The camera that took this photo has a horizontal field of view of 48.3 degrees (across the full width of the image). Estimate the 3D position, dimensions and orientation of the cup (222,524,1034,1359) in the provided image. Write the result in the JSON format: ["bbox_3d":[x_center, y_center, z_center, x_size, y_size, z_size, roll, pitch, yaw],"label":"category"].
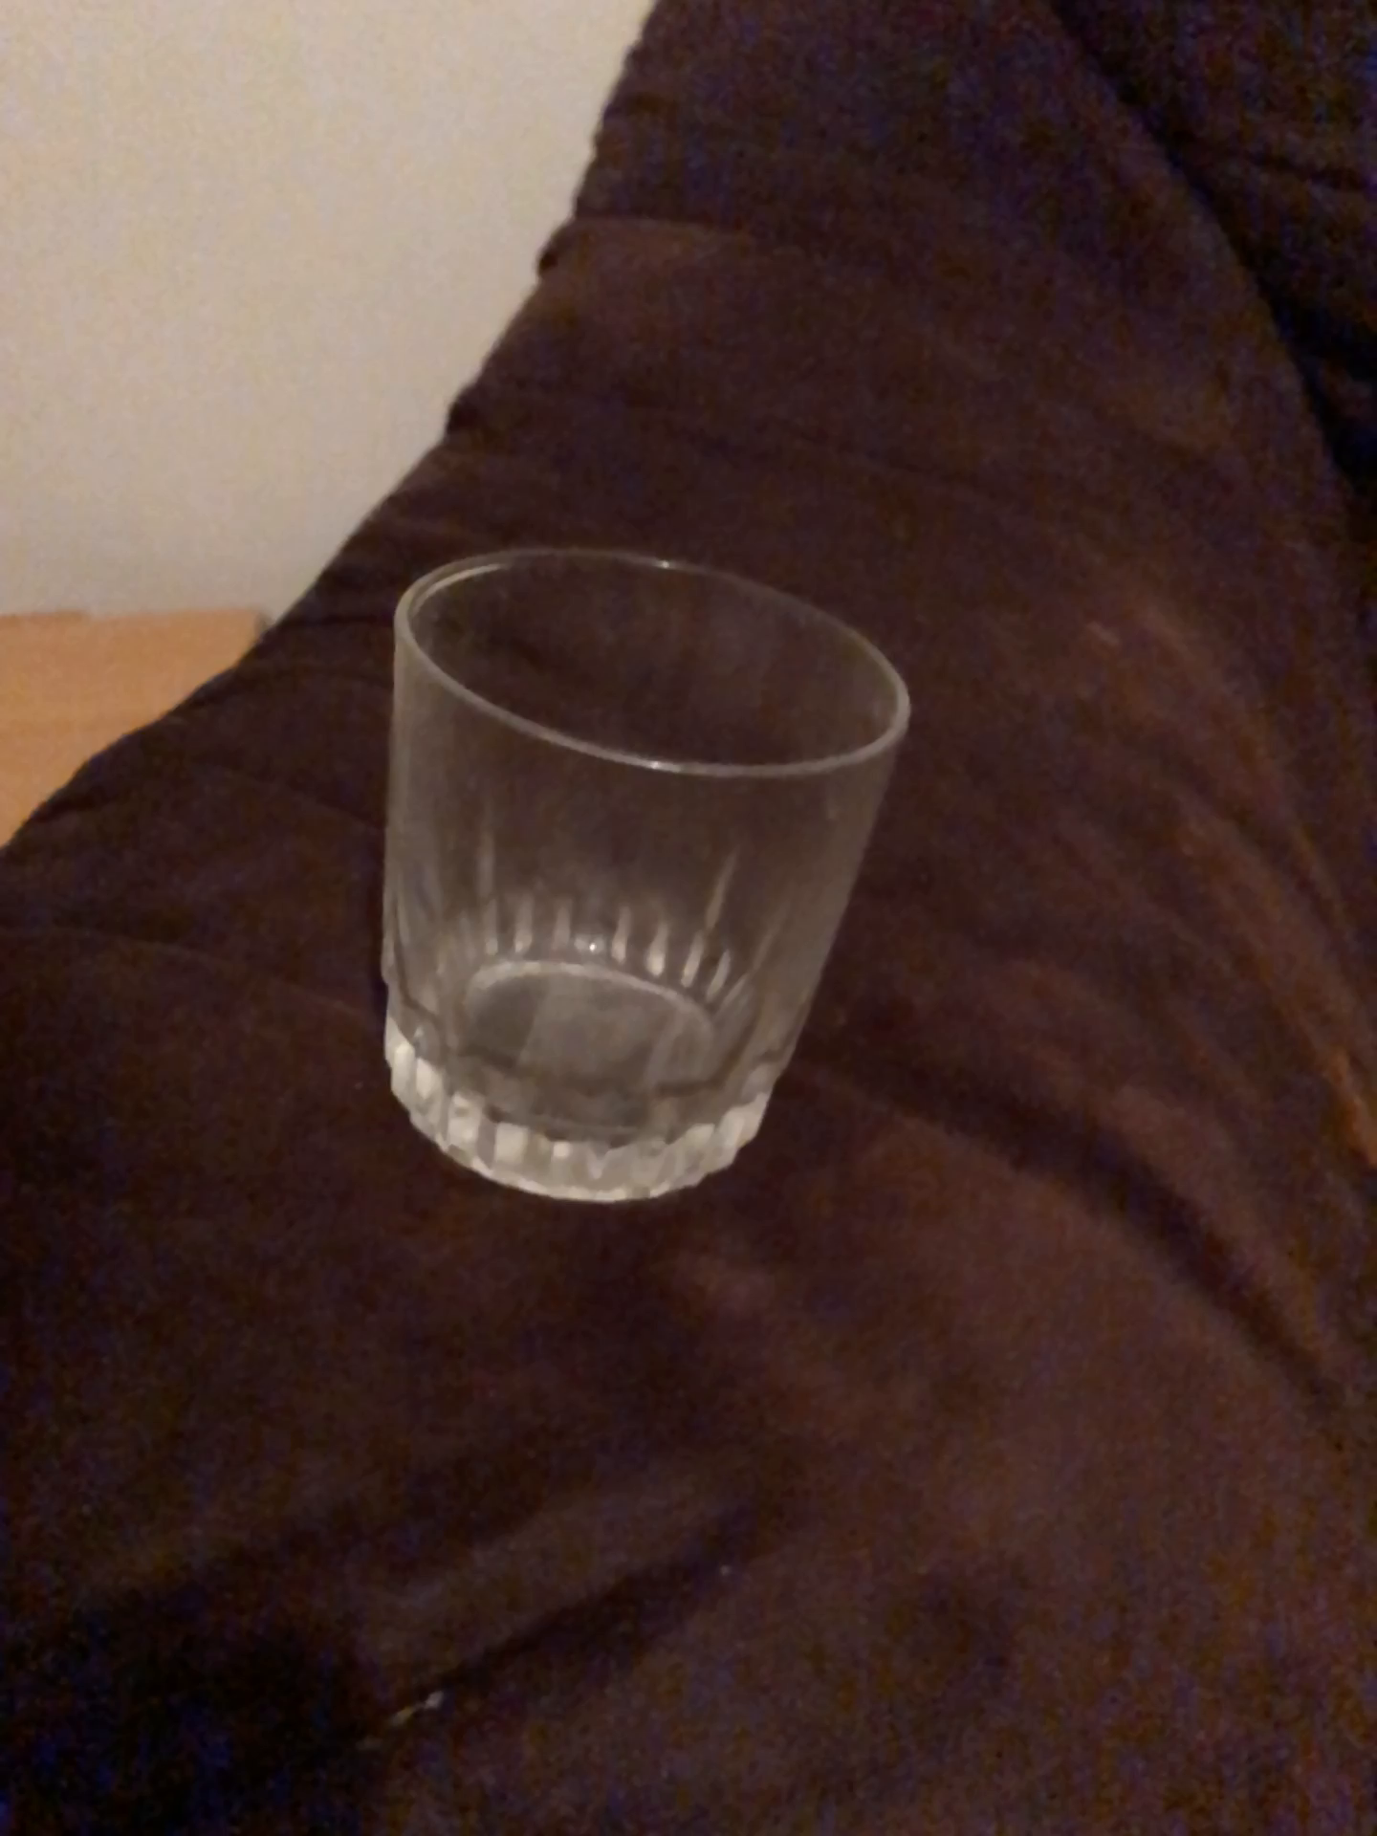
[{"bbox_3d":[-0.012,-0.005,0.253,0.087,0.086,0.087,9,29,-5],"label":"cup"}]
